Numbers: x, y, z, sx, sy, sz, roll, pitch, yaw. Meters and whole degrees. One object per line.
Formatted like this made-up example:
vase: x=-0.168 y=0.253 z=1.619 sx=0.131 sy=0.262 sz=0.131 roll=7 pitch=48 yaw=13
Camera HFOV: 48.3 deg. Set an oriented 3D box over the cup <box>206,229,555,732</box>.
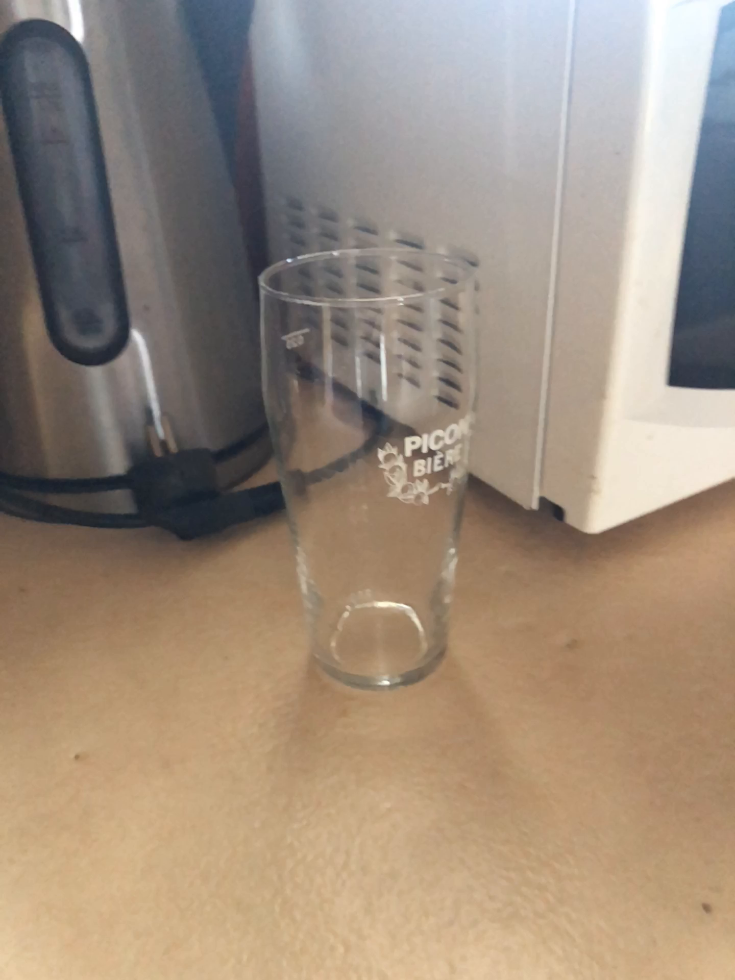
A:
cup: x=0.005 y=-0.007 z=0.263 sx=0.070 sy=0.129 sz=0.070 roll=-2 pitch=28 yaw=1
